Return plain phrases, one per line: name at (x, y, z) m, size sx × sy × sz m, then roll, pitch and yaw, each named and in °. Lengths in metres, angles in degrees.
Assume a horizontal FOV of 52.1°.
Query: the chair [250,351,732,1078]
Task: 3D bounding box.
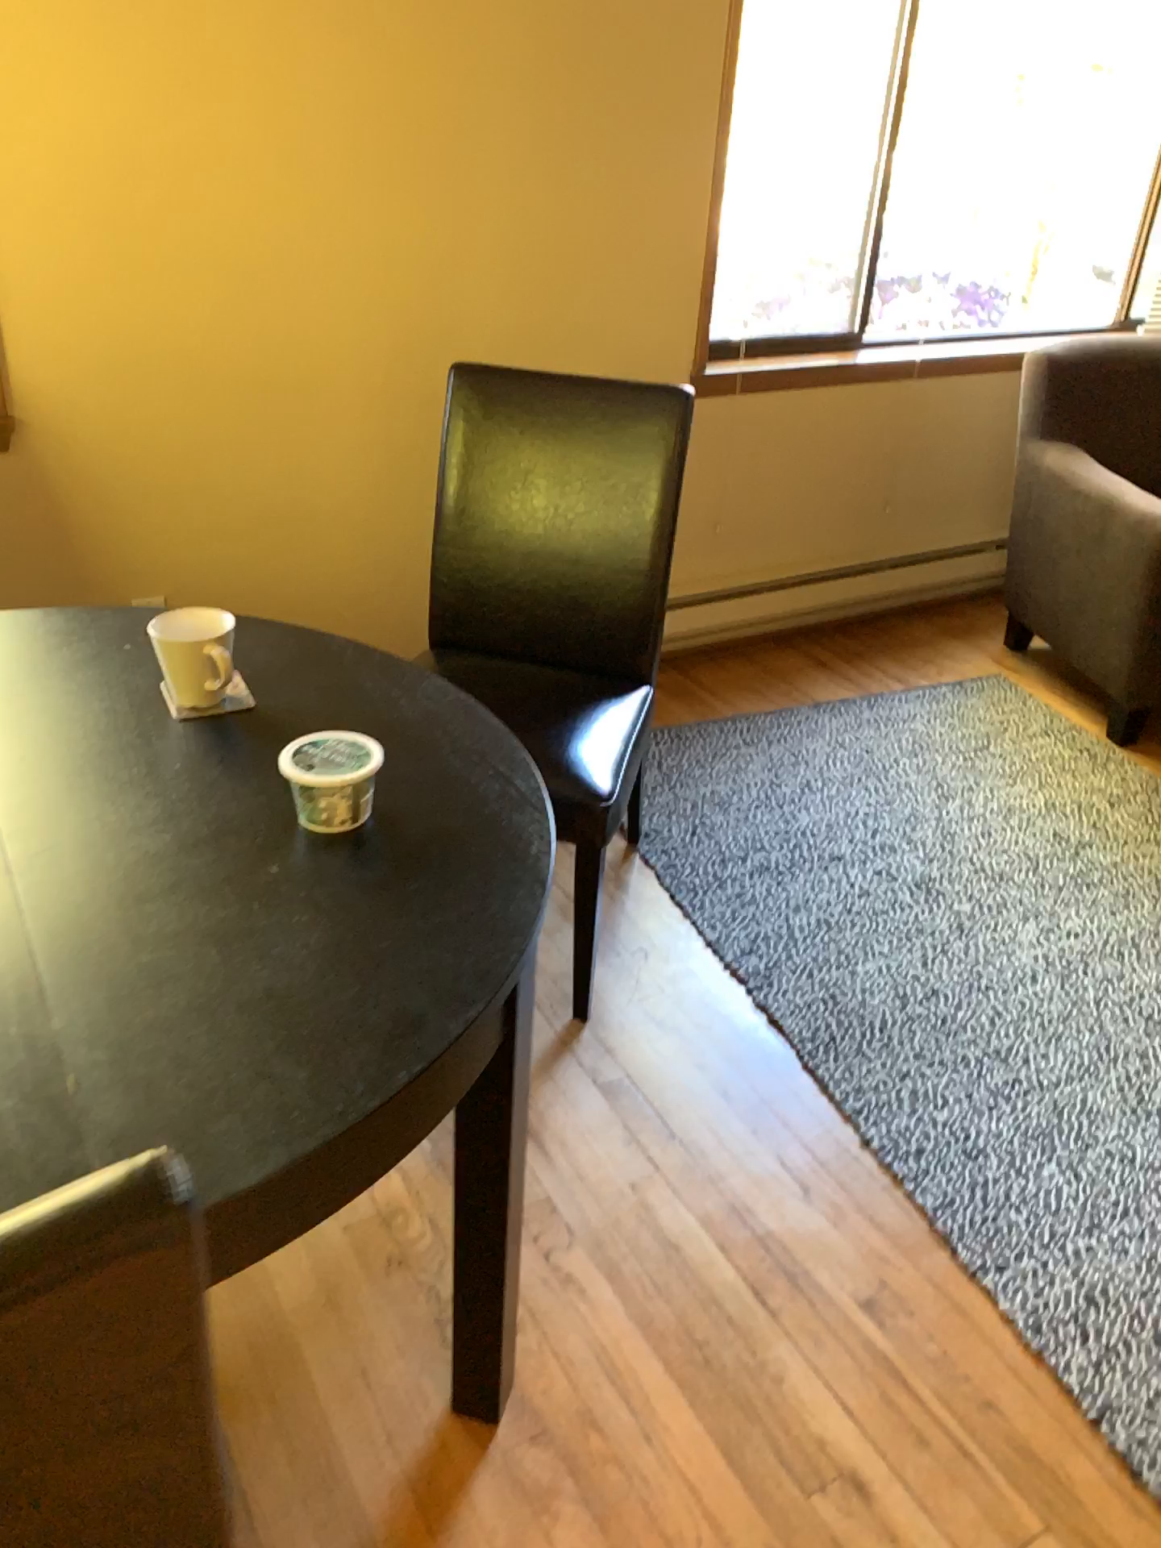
chair at (-0.132, -0.128, 2.198) m, size 0.620 × 1.083 × 0.653 m, roll 9°, pitch 31°, yaw 9°
